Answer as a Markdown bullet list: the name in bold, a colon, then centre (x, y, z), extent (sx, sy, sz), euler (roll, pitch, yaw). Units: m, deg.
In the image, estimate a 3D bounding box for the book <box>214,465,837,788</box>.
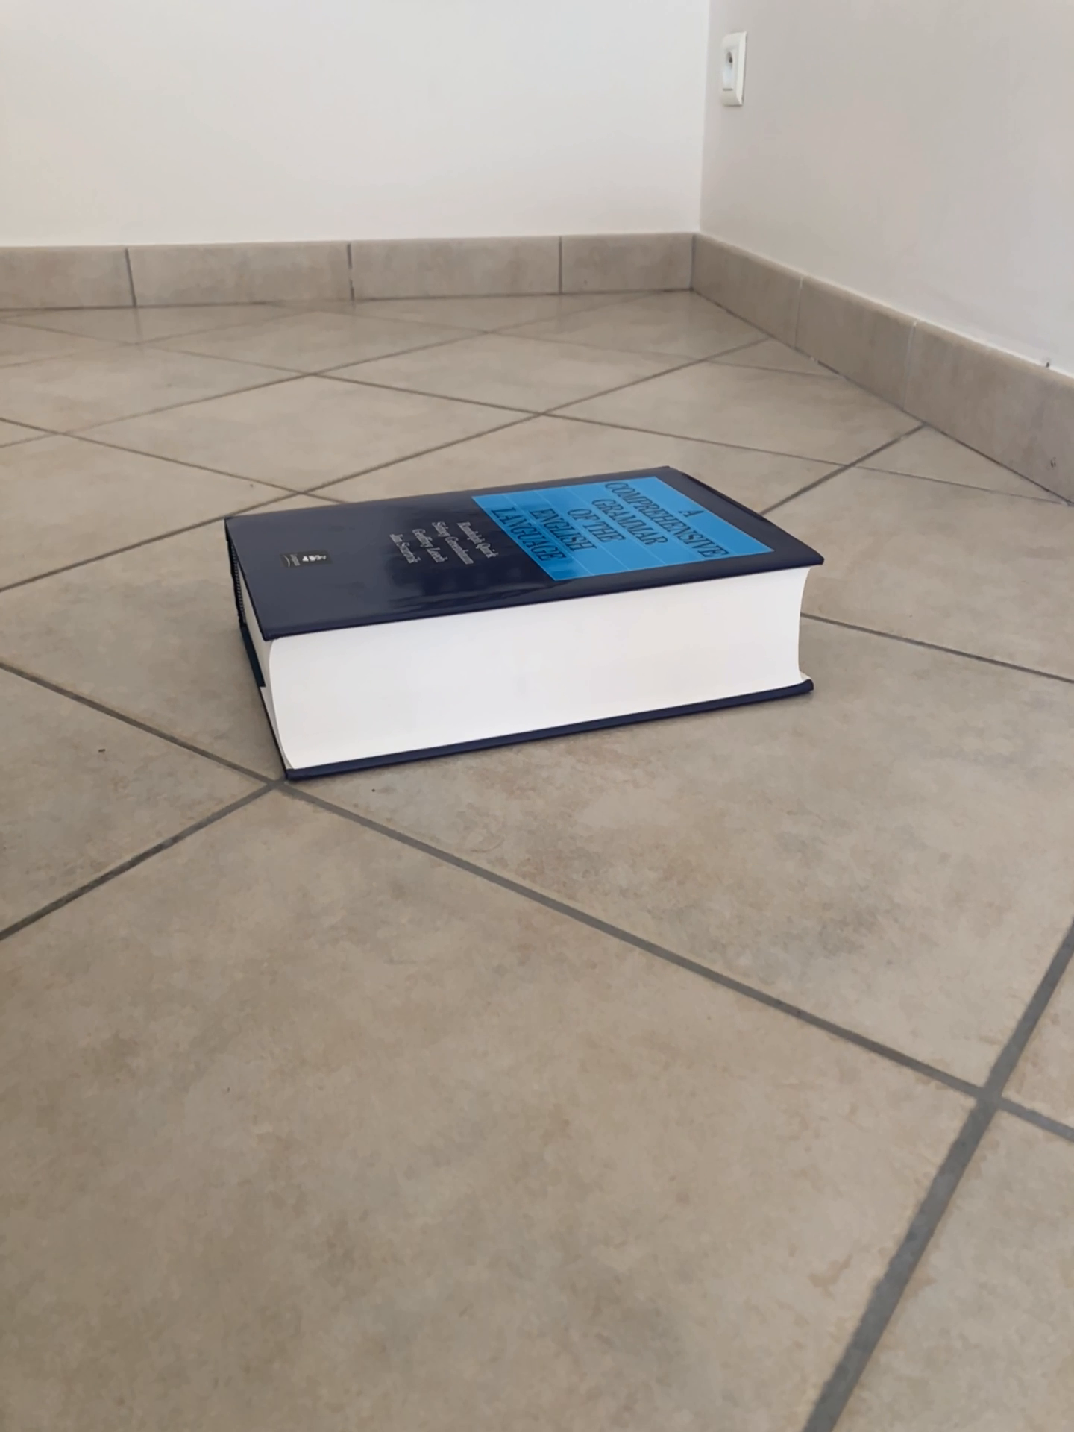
- **book**: centre (-0.016, -0.058, 0.582), extent (0.257, 0.066, 0.181), euler (-9, 27, -17)
